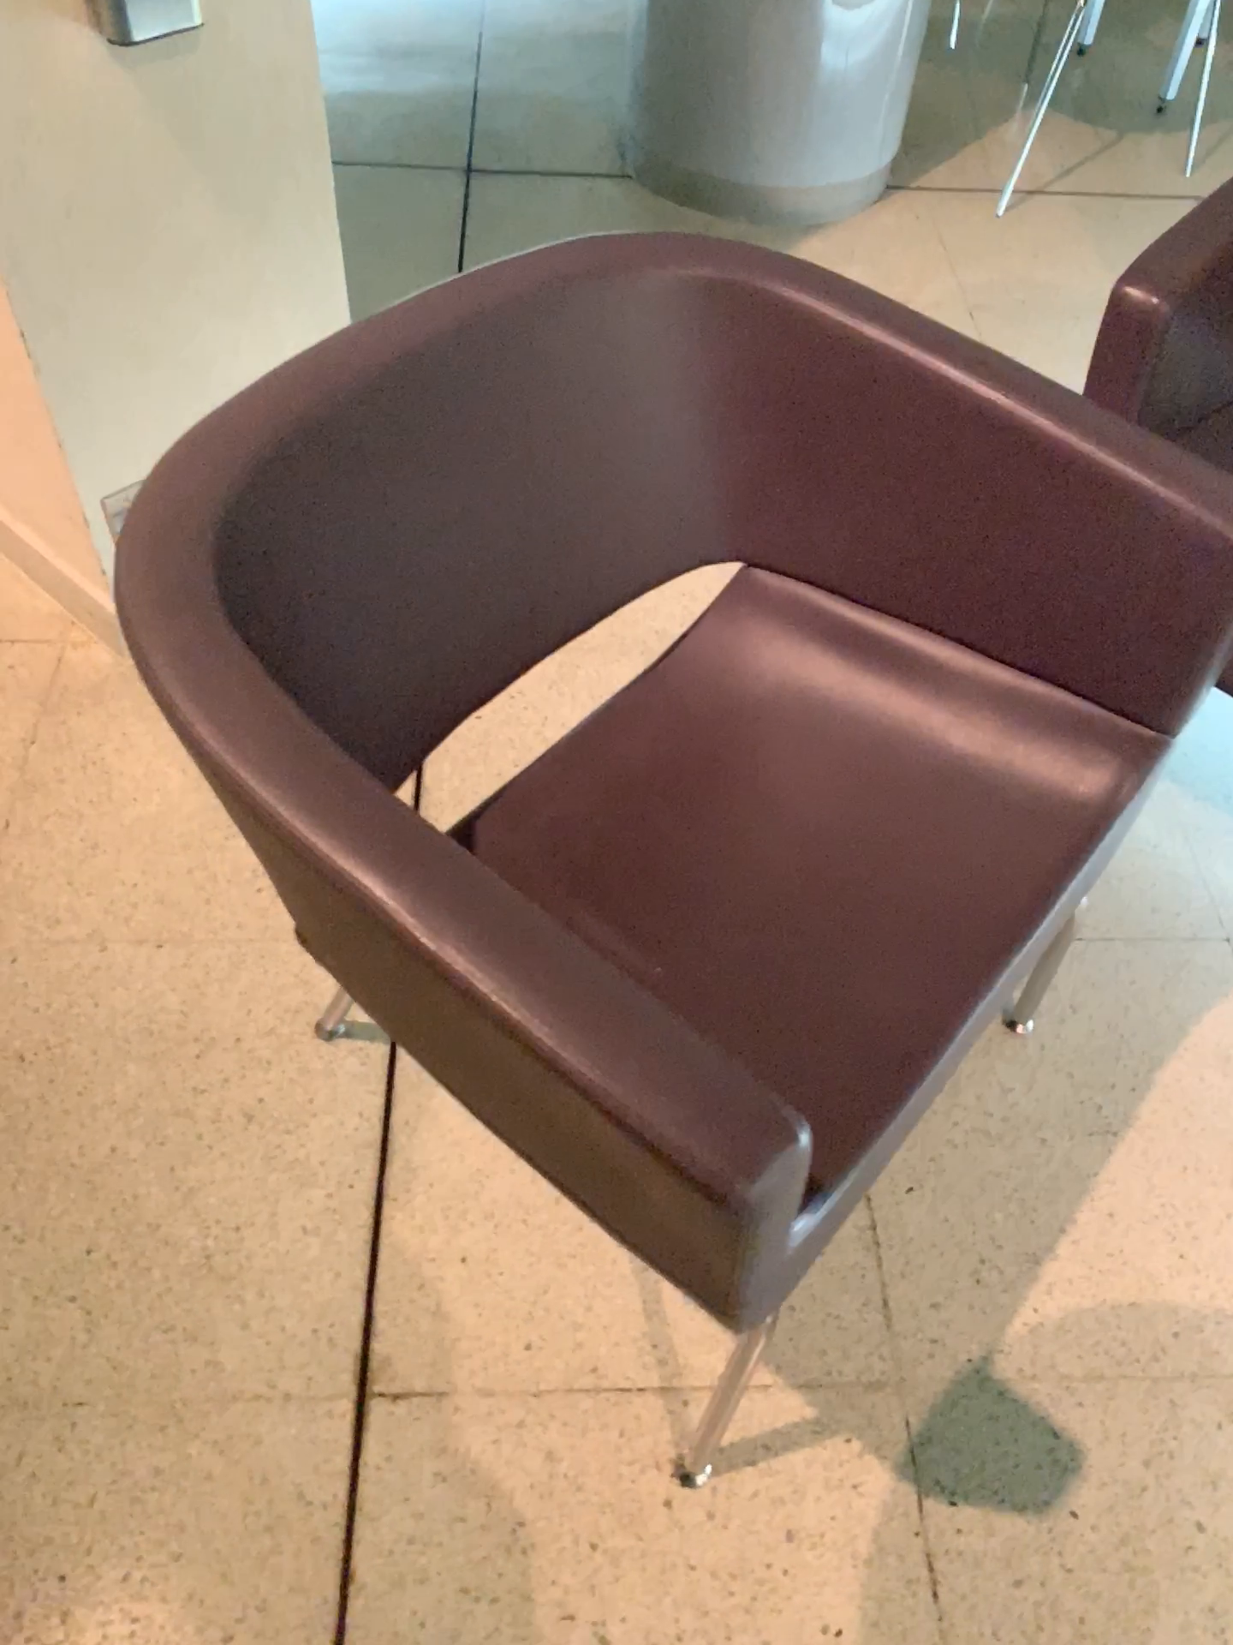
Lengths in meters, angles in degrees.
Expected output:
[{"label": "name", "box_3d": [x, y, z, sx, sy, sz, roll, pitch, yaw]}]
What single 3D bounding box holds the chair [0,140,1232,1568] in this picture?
[{"label": "chair", "box_3d": [0.087, -0.008, 1.105, 0.753, 0.714, 0.734, 36, 57, 24]}]
